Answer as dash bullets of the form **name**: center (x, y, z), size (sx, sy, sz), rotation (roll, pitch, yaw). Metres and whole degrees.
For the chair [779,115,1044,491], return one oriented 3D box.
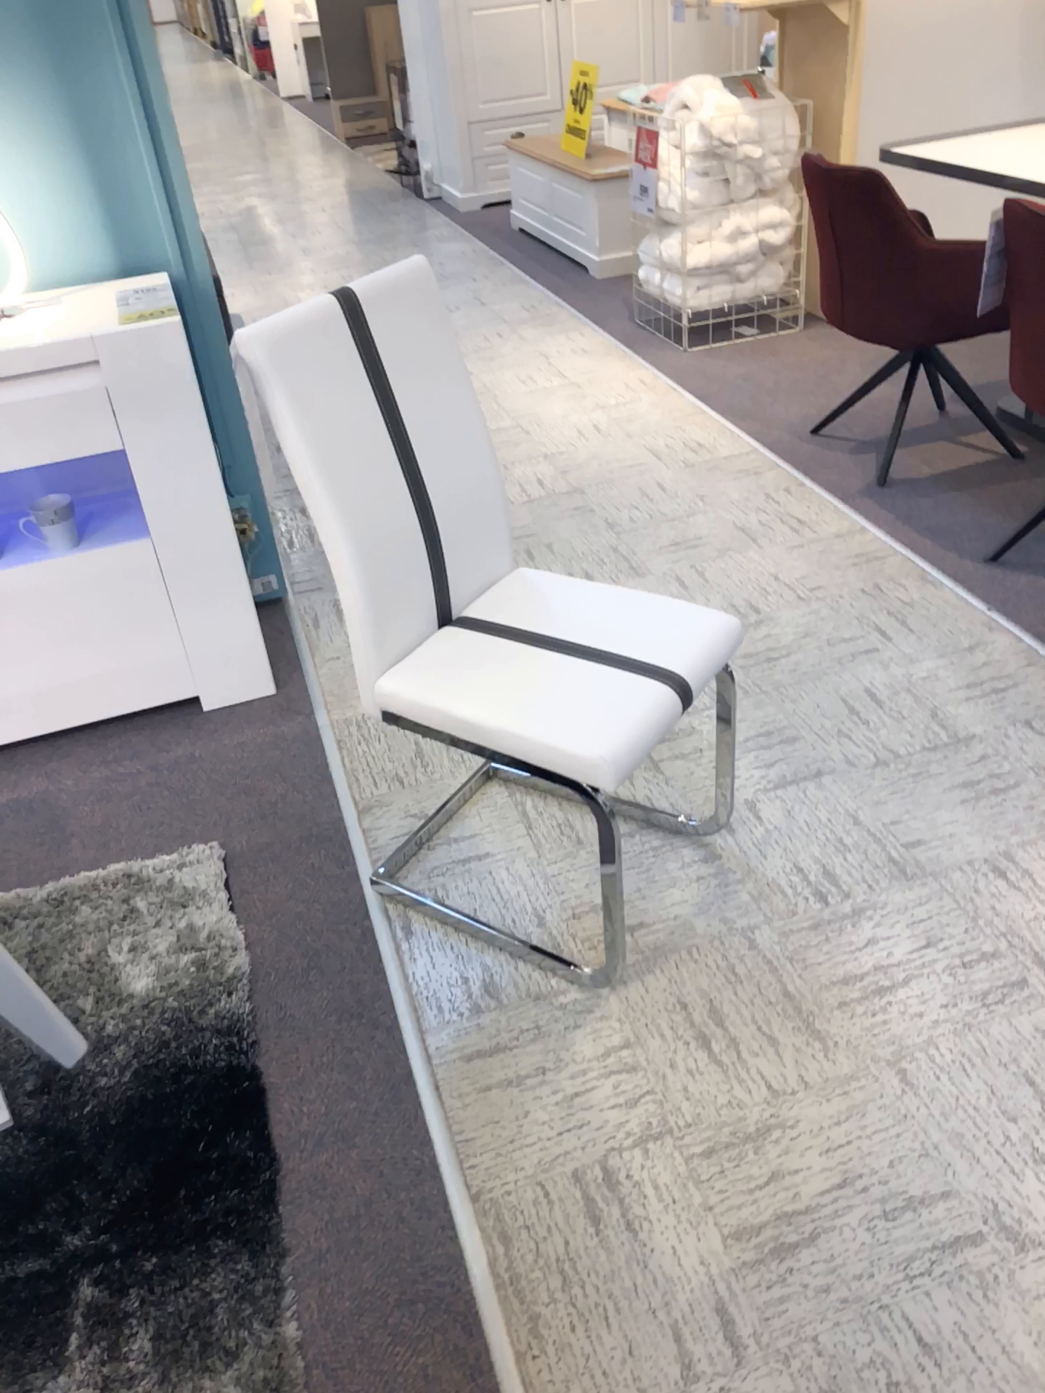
- **chair**: center (1.162, -1.173, 3.369), size (0.570, 0.878, 0.539), rotation (-15, 34, -13)

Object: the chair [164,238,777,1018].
- **chair**: center (-0.017, -0.121, 1.618), size (0.569, 0.878, 0.490), rotation (17, 40, 31)

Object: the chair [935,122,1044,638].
- **chair**: center (1.479, -0.751, 2.594), size (0.691, 0.878, 0.639), rotation (-22, 36, -22)
